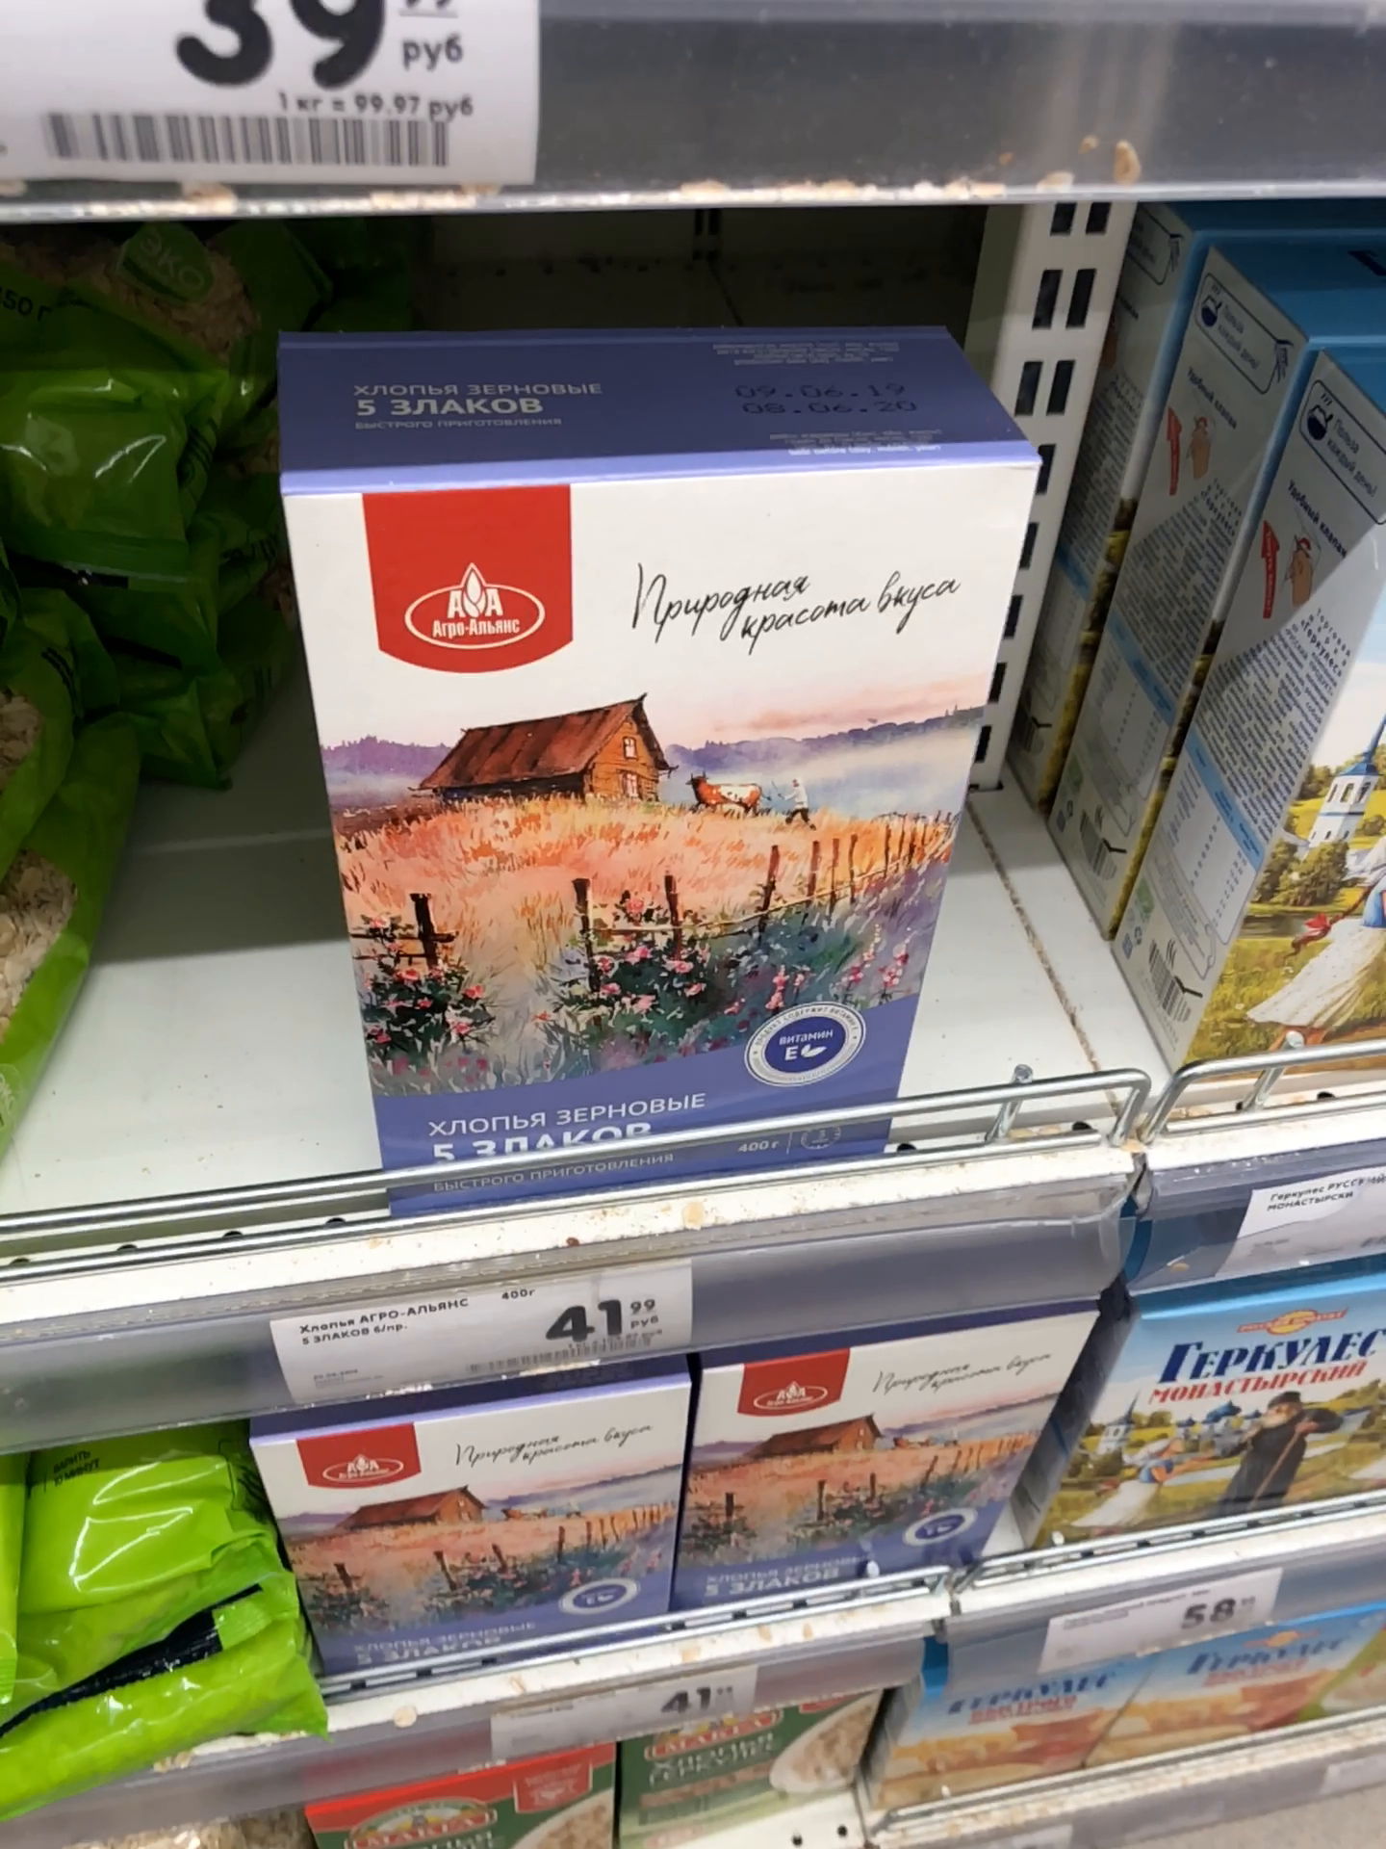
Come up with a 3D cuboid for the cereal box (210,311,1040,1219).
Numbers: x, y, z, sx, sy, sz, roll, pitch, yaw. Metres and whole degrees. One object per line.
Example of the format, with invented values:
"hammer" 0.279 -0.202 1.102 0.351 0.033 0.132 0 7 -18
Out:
"cereal box" -0.018 -0.025 0.347 0.140 0.199 0.060 -6 45 -9
